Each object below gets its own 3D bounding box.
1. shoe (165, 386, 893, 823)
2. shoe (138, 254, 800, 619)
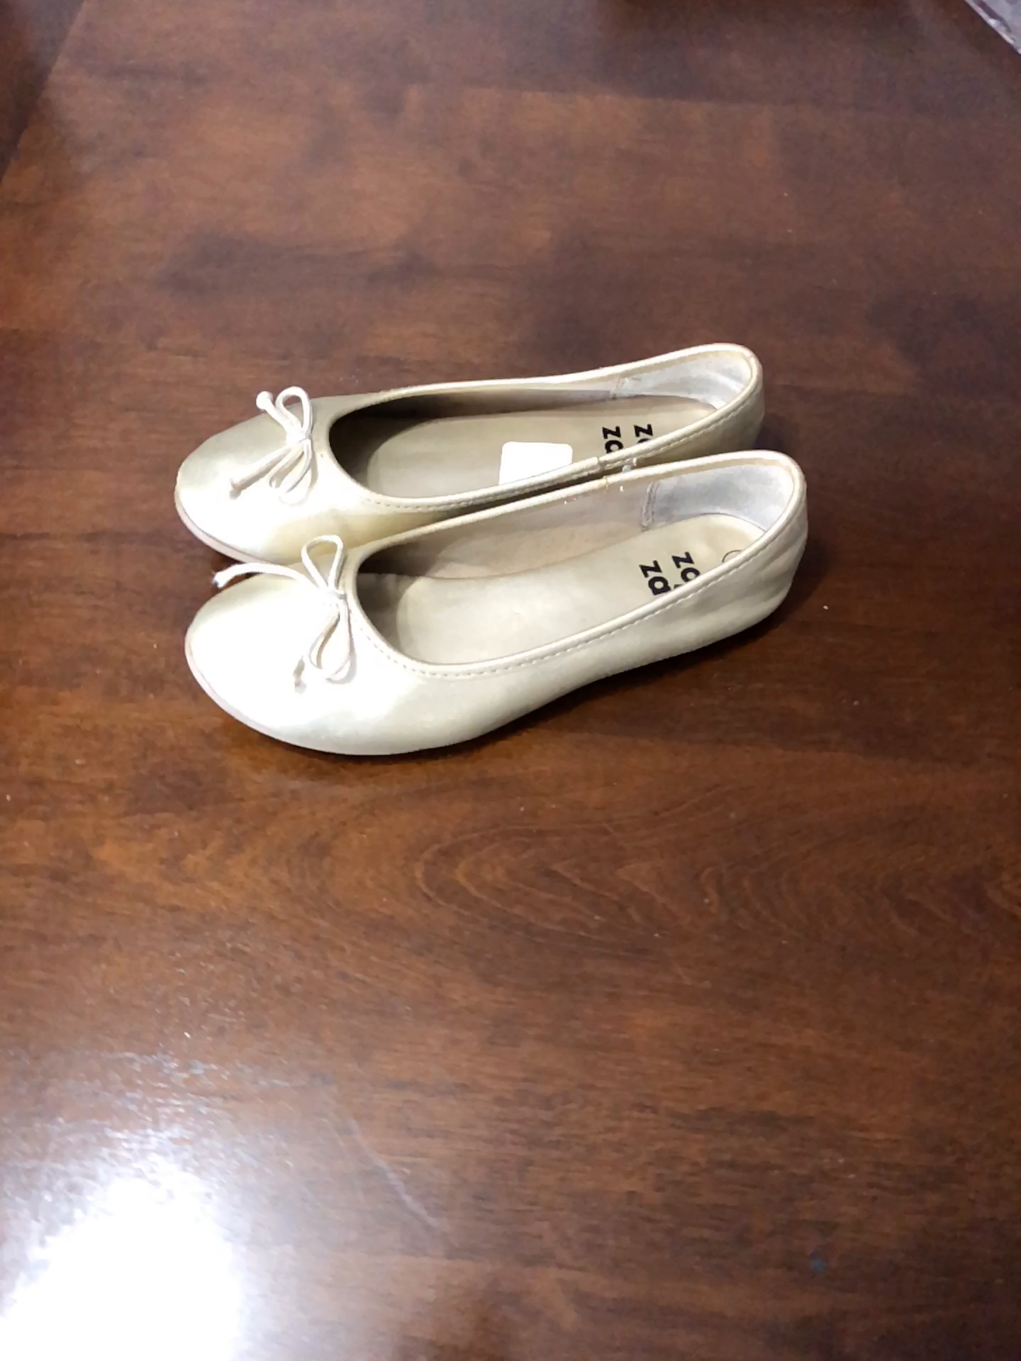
[{"bbox_3d":[0.004,-0.029,0.411,0.230,0.070,0.090,-13,61,-8],"label":"shoe"},{"bbox_3d":[-0.017,-0.096,0.442,0.230,0.070,0.080,-11,61,-7],"label":"shoe"}]
